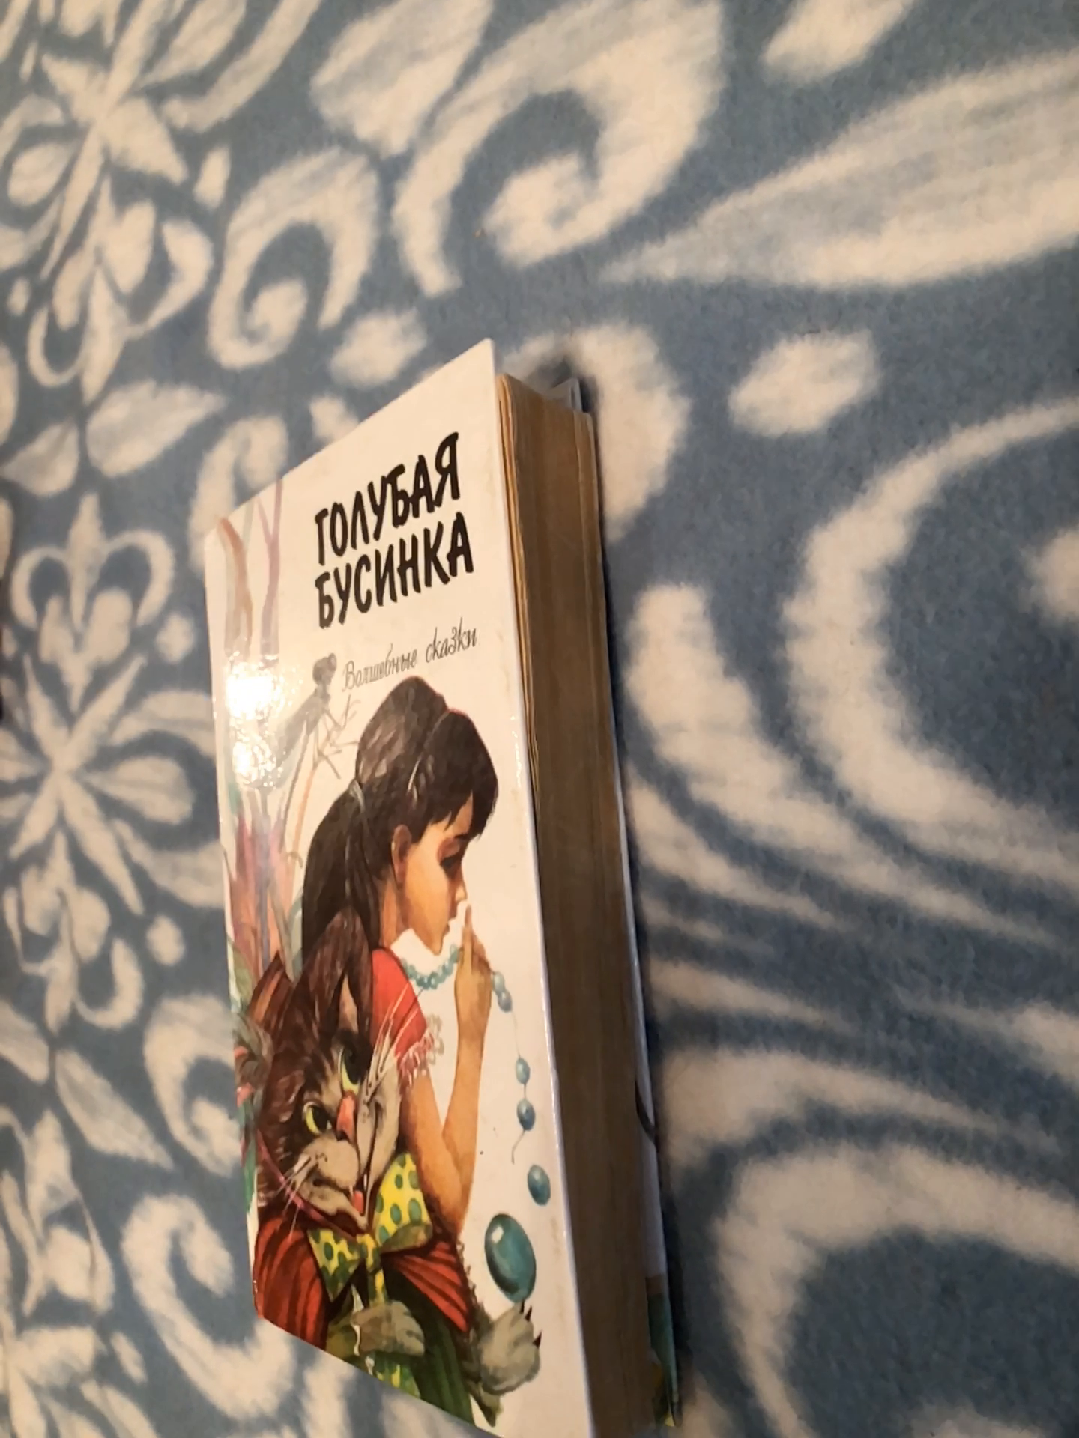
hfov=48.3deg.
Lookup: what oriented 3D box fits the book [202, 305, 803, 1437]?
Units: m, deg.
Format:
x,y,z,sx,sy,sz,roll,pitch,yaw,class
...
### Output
x,y,z,sx,sy,sz,roll,pitch,yaw,class
-0.023,0.037,0.278,0.146,0.040,0.206,-15,77,50,book
